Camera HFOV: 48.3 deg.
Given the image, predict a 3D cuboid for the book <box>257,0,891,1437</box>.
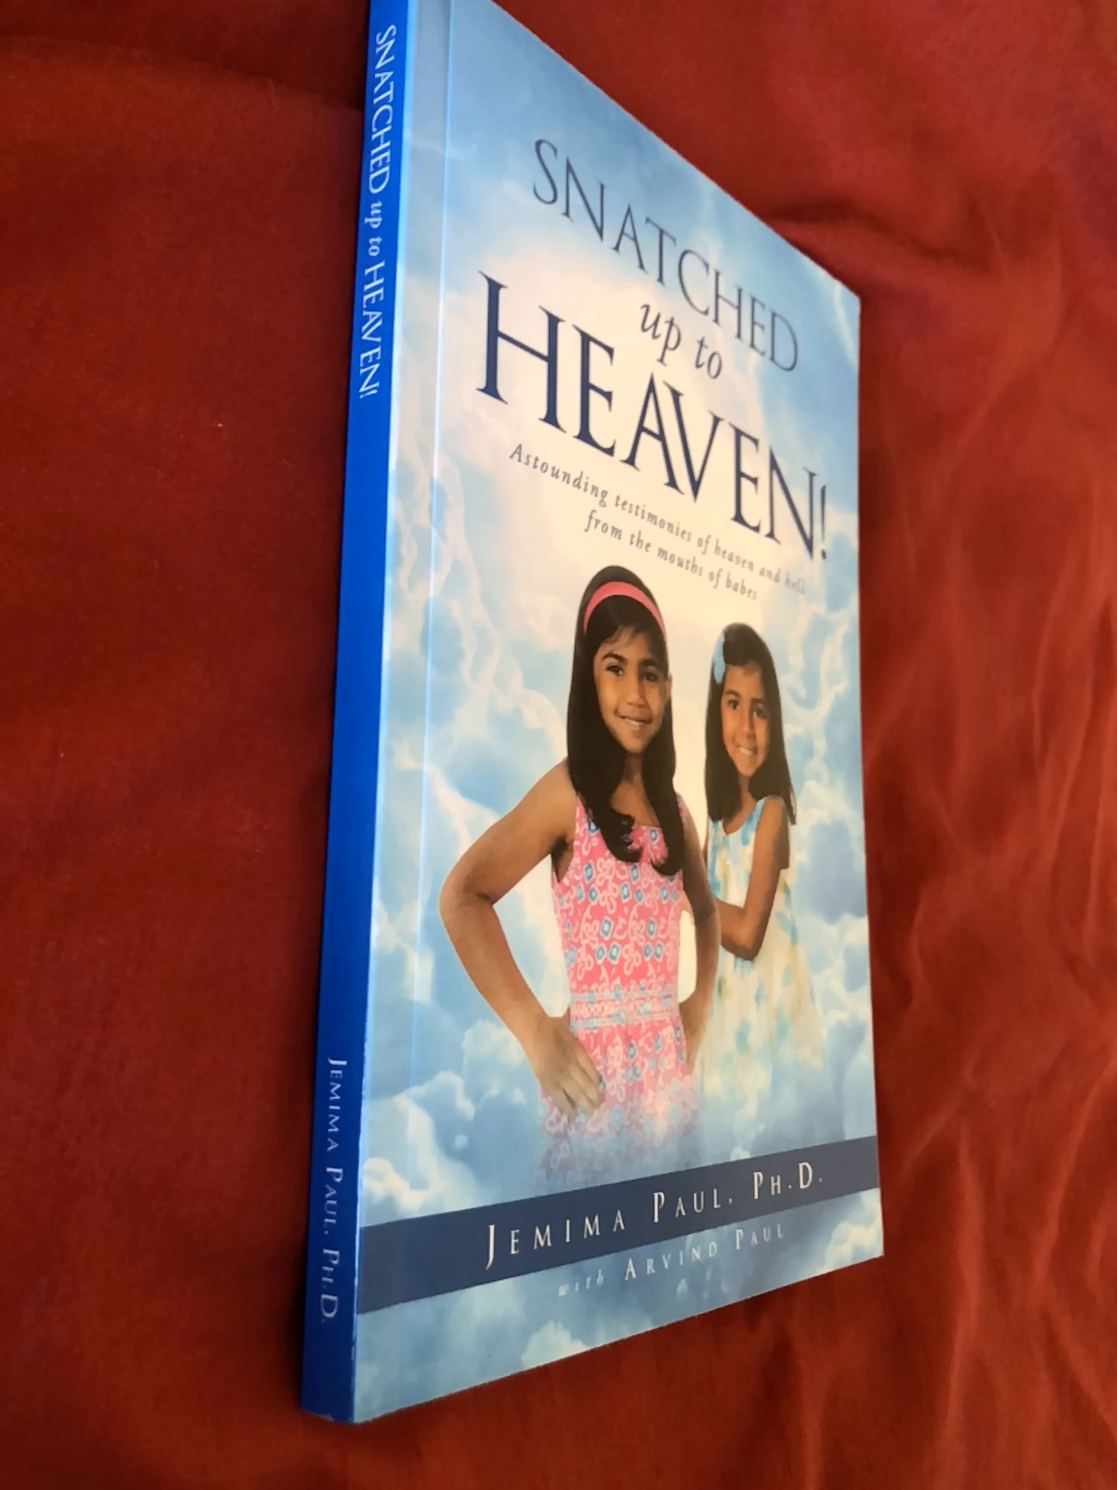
[{"bbox_3d":[0.017,-0.007,0.230,0.141,0.020,0.212,13,75,-47],"label":"book"}]
